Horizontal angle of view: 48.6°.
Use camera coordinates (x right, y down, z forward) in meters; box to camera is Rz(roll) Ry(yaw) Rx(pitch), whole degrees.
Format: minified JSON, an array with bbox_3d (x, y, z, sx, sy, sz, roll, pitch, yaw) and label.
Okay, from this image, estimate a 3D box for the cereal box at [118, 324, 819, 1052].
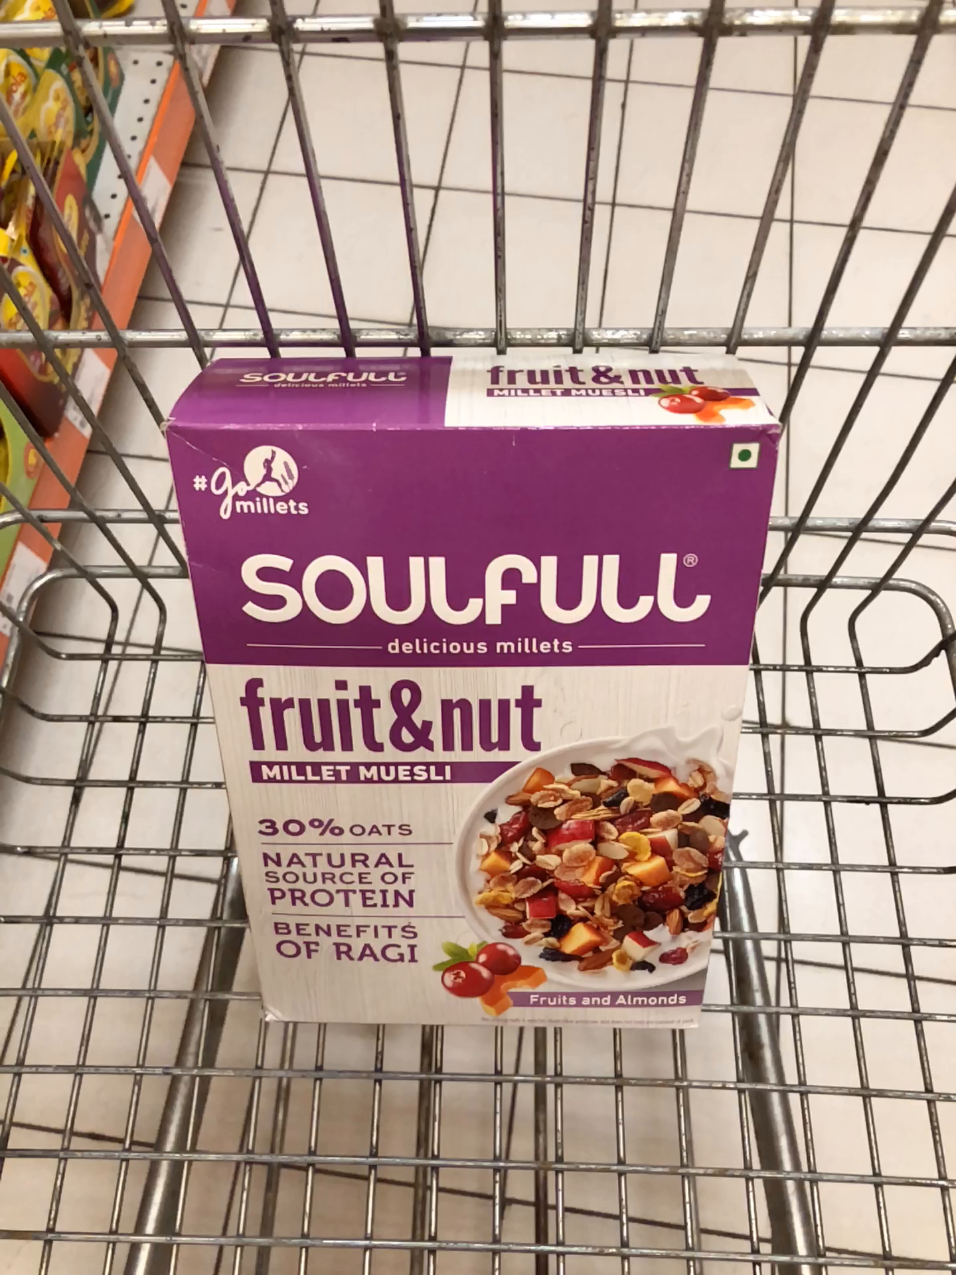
[{"bbox_3d":[-0.001,0.027,0.348,0.170,0.239,0.070,0,31,1],"label":"cereal box"}]
